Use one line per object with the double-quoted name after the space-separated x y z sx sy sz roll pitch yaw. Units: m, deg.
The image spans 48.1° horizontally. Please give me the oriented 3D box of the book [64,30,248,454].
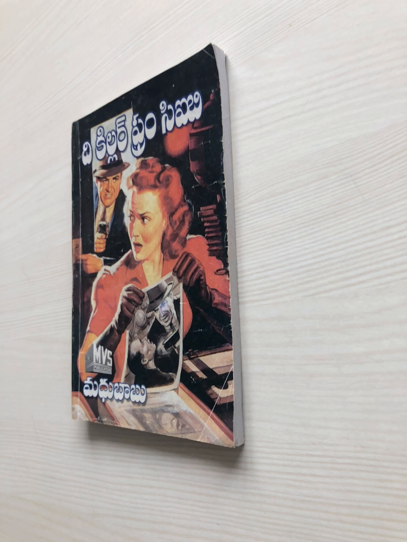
-0.028 -0.010 0.205 0.100 0.012 0.160 -8 80 40 "book"
